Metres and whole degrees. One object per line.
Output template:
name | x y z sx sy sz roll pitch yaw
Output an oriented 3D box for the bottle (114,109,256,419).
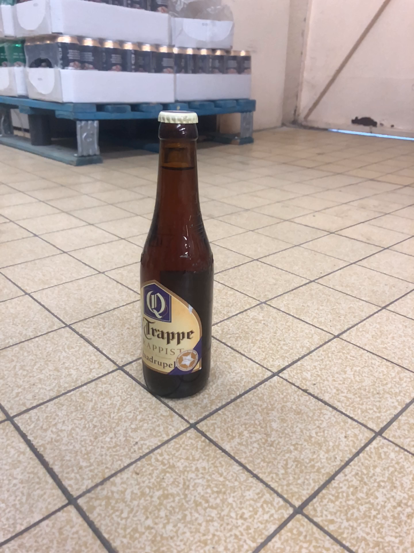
bottle | -0.017 -0.011 0.356 0.070 0.219 0.070 2 22 -1
